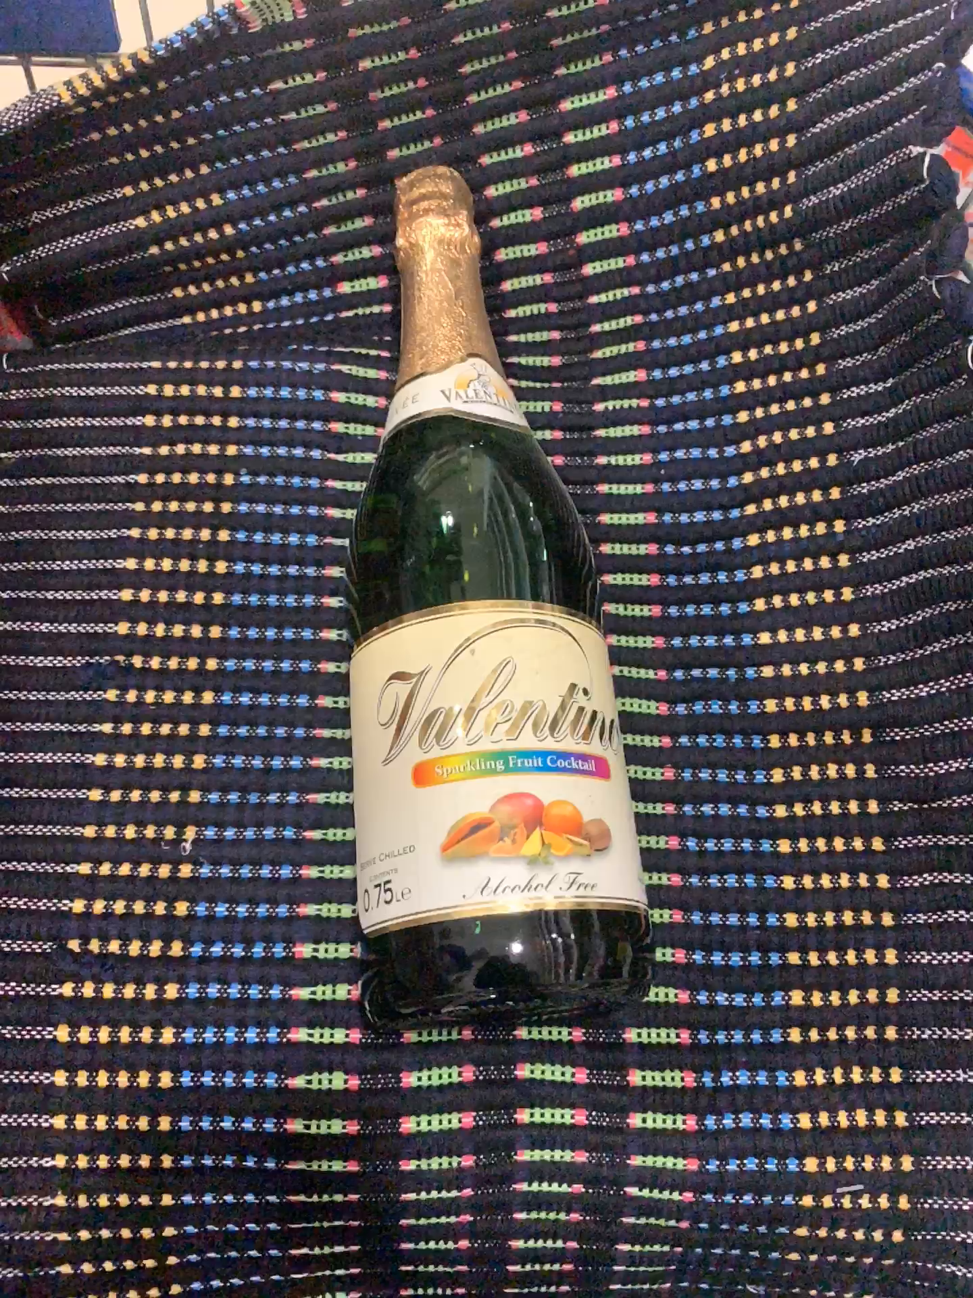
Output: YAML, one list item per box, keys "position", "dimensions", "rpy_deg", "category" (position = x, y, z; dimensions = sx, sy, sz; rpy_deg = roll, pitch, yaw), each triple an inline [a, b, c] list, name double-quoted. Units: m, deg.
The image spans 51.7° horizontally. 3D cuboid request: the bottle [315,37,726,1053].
- position: [-0.009, -0.056, 0.345]
  dimensions: [0.090, 0.080, 0.351]
  rpy_deg: [-2, 64, -9]
  category: "bottle"
